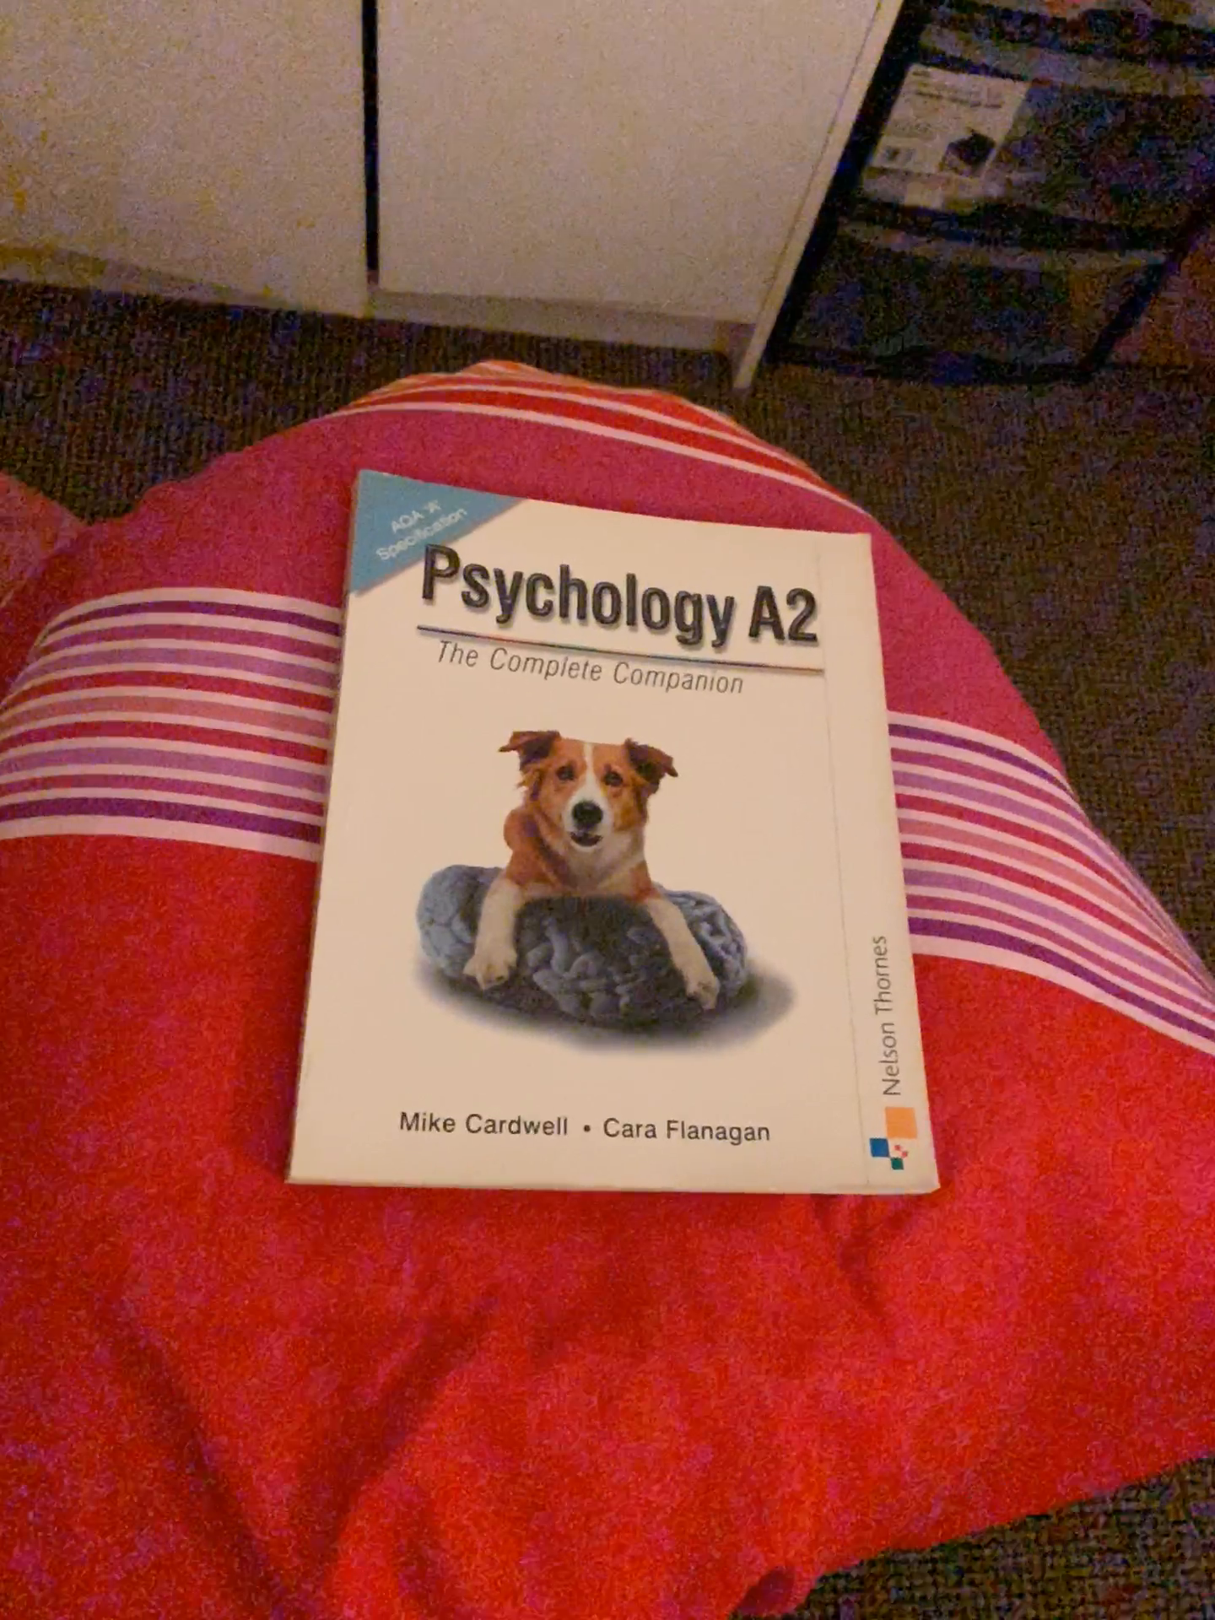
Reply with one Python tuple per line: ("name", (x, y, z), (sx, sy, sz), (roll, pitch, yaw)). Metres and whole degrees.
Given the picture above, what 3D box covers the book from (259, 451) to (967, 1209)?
("book", (0.004, 0.001, 0.492), (0.240, 0.040, 0.291), (4, 67, -8))
